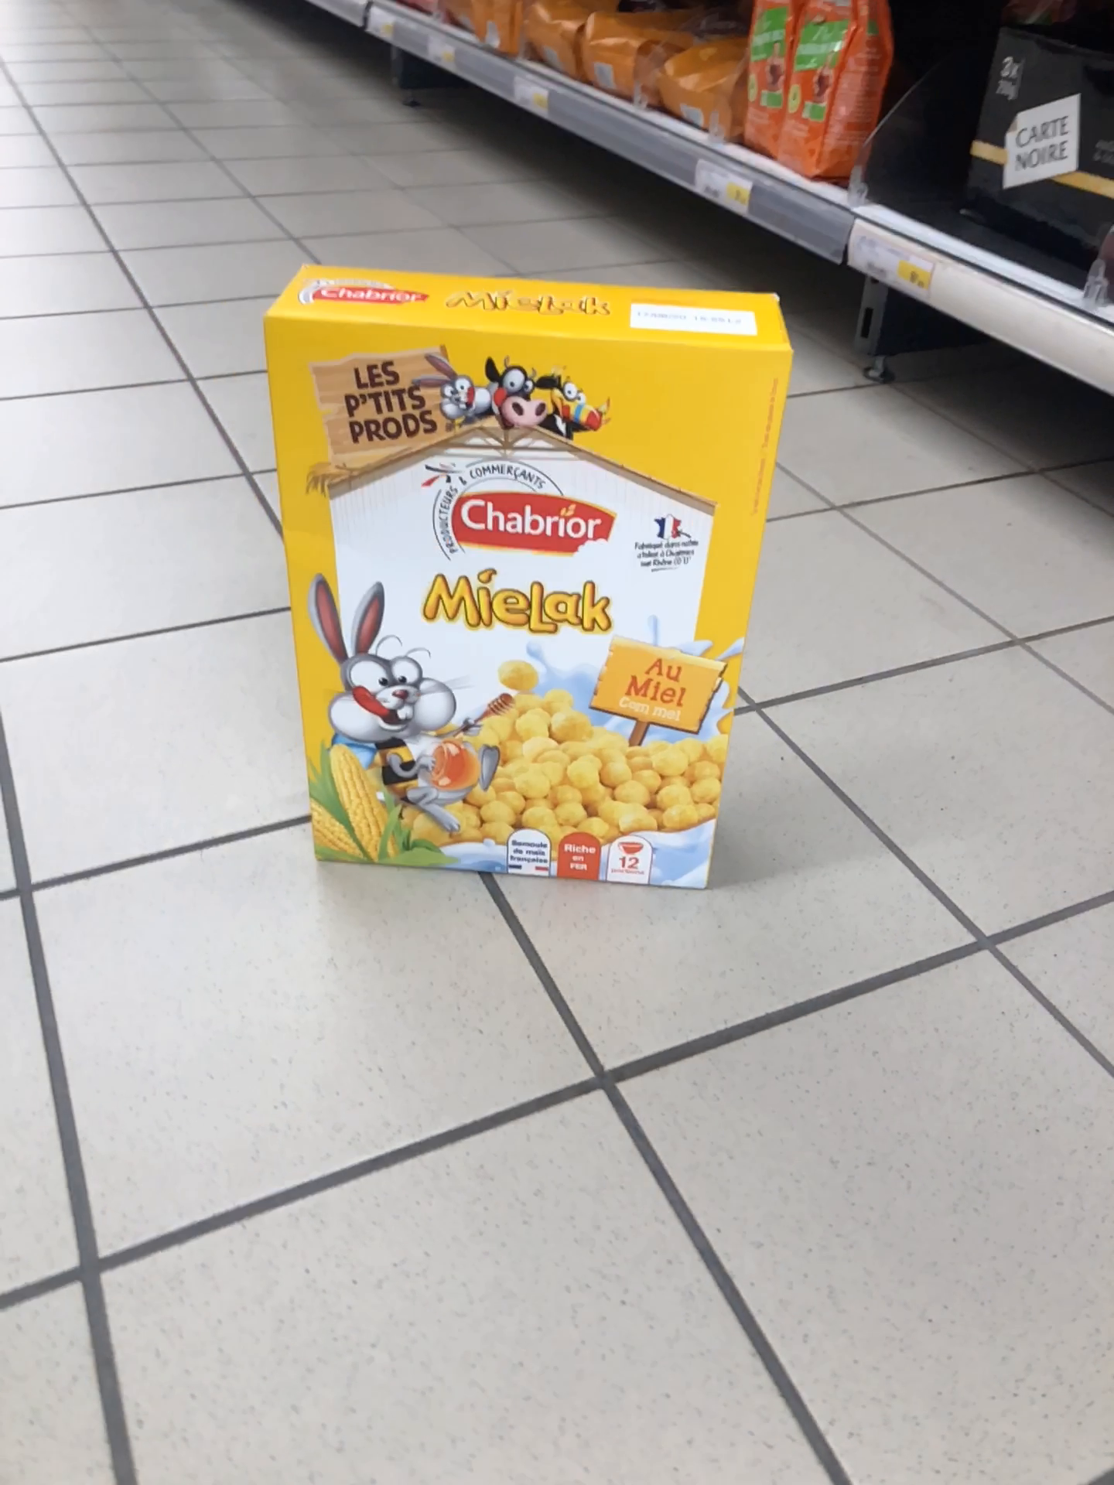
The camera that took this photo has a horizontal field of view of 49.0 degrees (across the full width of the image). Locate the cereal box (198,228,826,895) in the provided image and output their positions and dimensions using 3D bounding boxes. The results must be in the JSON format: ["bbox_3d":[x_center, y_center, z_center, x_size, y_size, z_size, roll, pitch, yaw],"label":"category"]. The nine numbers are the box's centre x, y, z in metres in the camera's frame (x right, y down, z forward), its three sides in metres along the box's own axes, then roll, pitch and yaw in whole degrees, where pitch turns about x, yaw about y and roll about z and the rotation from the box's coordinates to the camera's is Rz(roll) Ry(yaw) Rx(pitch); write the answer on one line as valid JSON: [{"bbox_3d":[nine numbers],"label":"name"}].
[{"bbox_3d":[-0.020,-0.063,0.511,0.210,0.258,0.070,4,36,1],"label":"cereal box"}]
